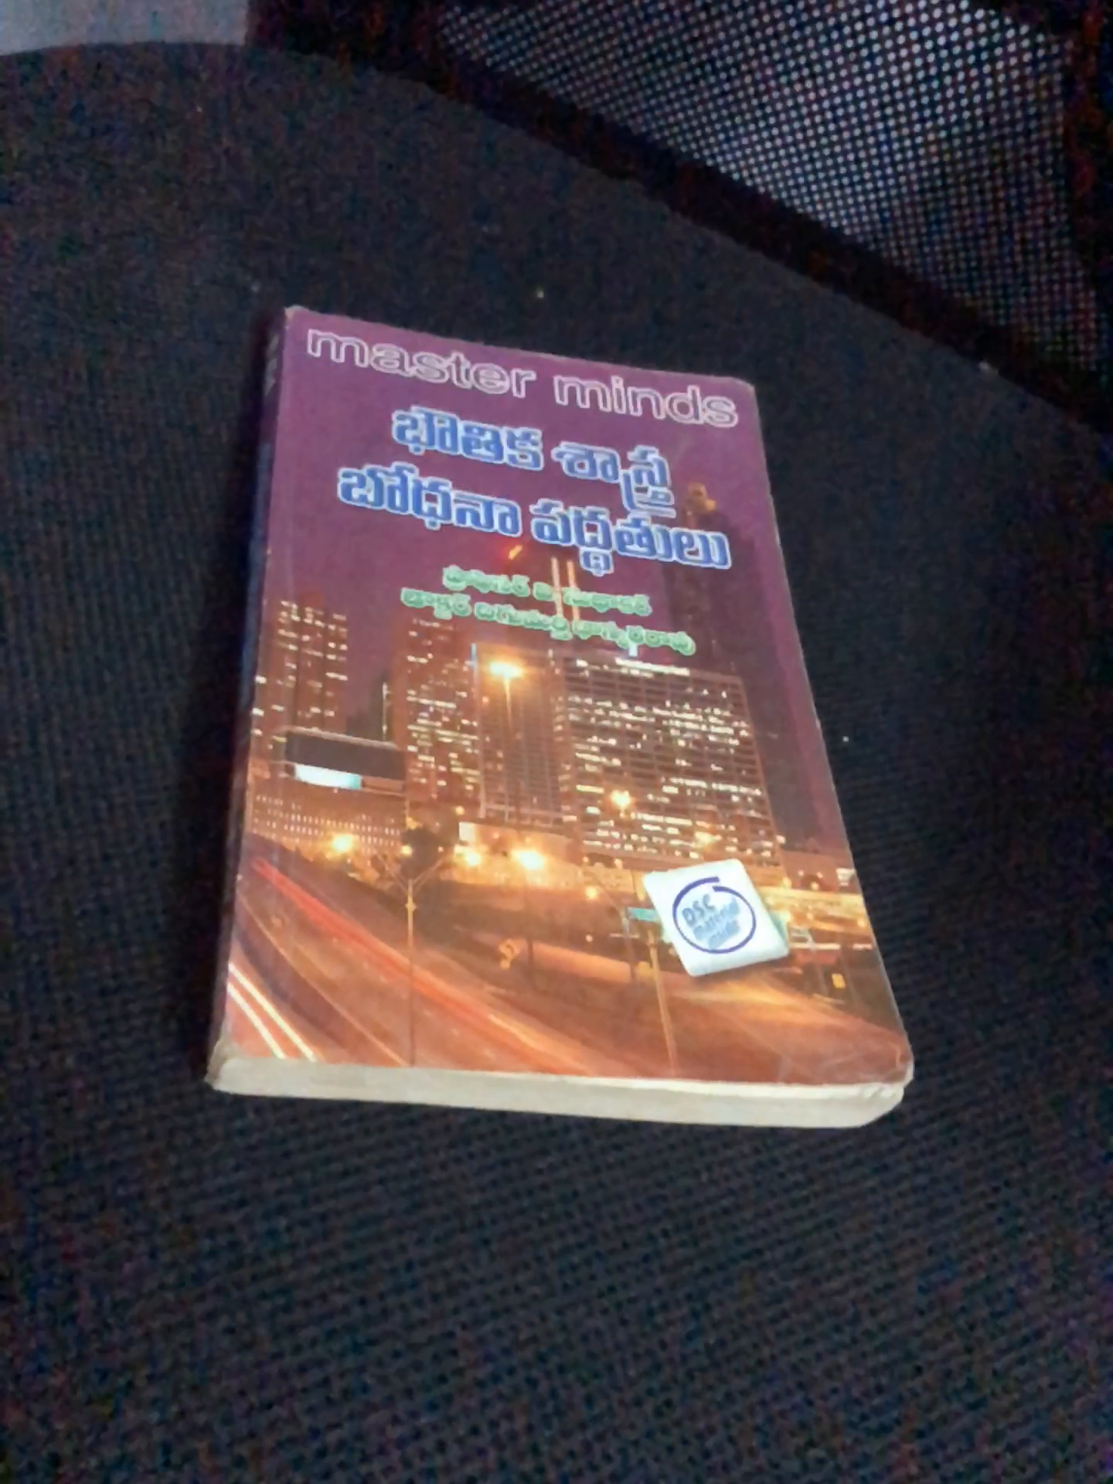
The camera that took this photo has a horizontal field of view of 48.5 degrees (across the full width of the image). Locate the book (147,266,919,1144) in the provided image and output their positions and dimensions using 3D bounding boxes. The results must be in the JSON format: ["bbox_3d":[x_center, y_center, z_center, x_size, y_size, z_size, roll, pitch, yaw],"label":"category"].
[{"bbox_3d":[-0.009,-0.020,0.297,0.146,0.027,0.219,10,51,-20],"label":"book"}]
